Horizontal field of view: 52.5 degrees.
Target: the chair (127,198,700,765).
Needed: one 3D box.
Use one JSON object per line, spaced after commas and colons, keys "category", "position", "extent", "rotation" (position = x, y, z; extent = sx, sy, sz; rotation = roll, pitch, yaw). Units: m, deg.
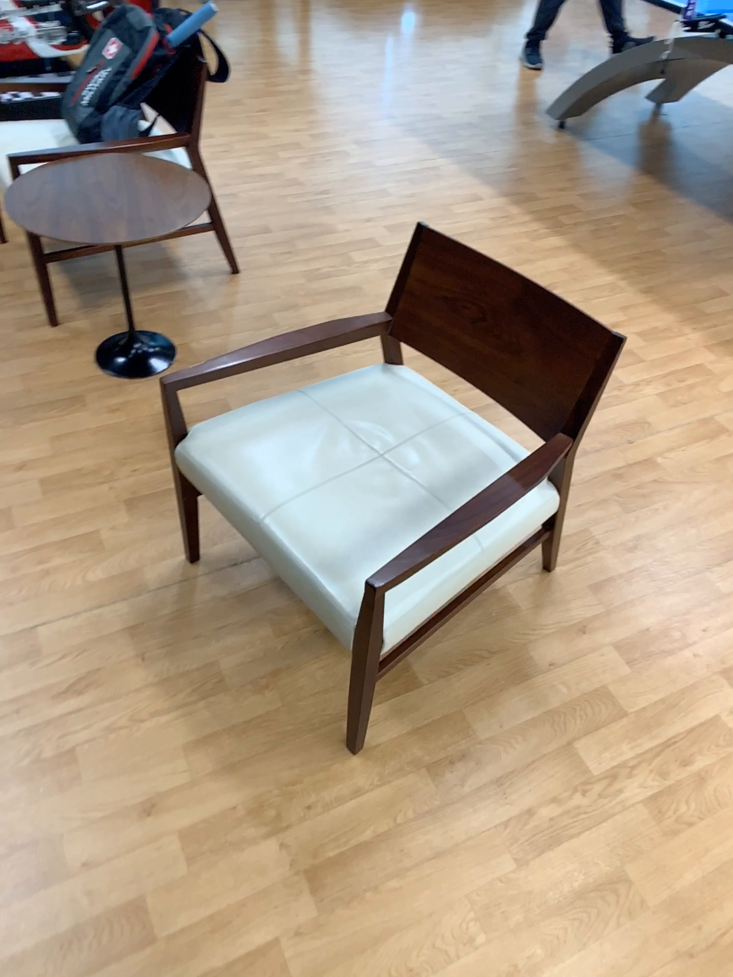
{"category": "chair", "position": [0.060, -0.062, 1.483], "extent": [0.713, 0.635, 0.673], "rotation": [-29, 54, -30]}
